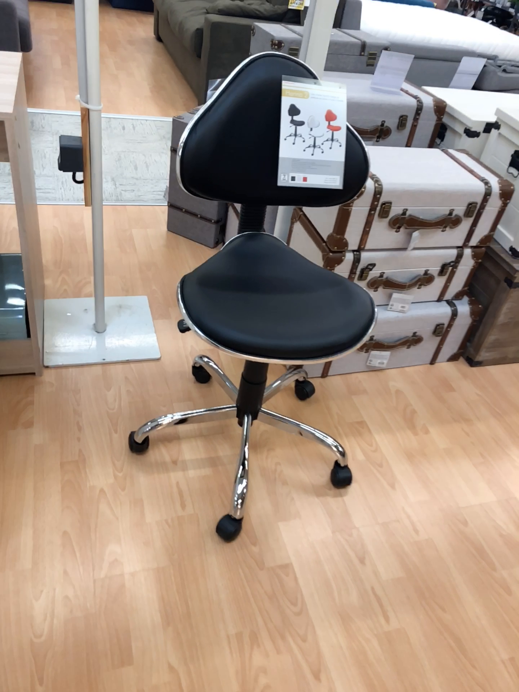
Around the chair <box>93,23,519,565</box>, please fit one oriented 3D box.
[{"bbox_3d":[0.010,-0.112,1.214,0.602,0.854,0.612,-7,41,-22],"label":"chair"}]
